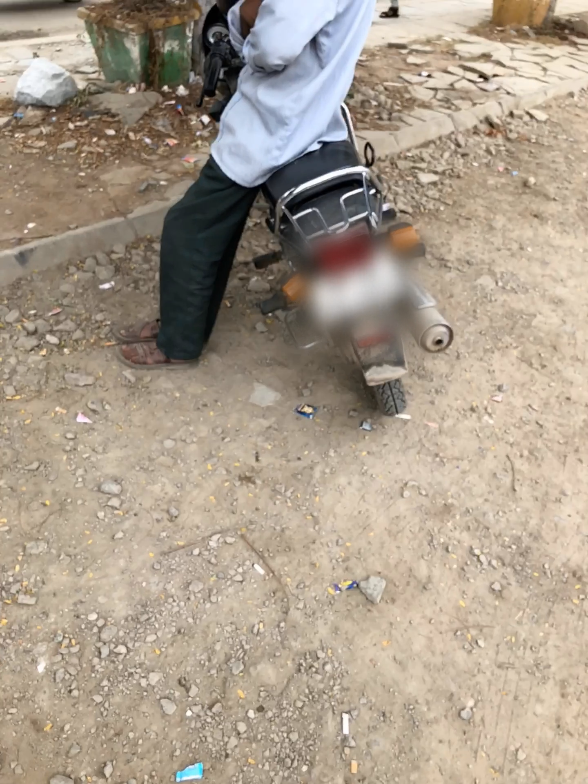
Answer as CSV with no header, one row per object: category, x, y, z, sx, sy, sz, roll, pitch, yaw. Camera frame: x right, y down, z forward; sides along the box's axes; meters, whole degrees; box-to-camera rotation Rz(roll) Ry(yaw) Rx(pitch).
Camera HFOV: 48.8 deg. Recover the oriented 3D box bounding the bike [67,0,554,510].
bike,-0.177,-0.707,1.963,0.740,1.170,1.602,-8,43,-15
